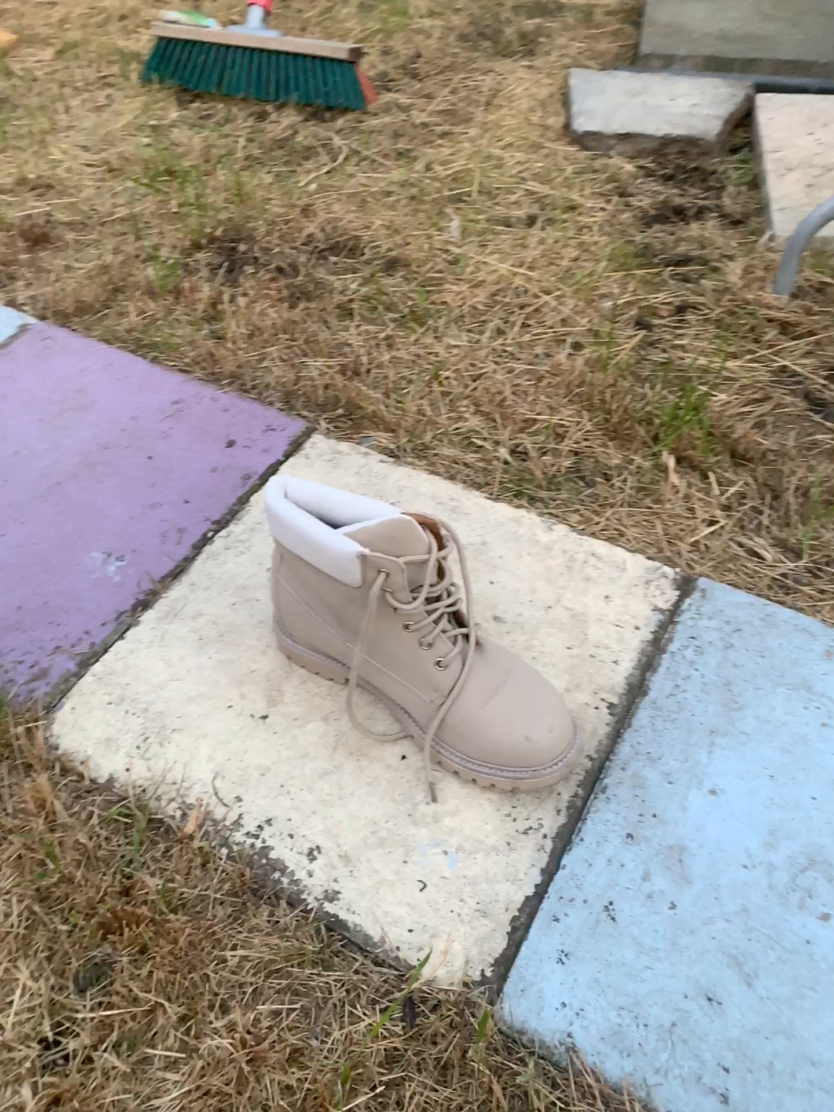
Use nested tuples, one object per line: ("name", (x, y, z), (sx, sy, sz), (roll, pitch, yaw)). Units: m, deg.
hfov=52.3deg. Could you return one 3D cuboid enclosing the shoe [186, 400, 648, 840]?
("shoe", (-0.005, 0.042, 0.600), (0.281, 0.198, 0.101), (26, 54, 24))
